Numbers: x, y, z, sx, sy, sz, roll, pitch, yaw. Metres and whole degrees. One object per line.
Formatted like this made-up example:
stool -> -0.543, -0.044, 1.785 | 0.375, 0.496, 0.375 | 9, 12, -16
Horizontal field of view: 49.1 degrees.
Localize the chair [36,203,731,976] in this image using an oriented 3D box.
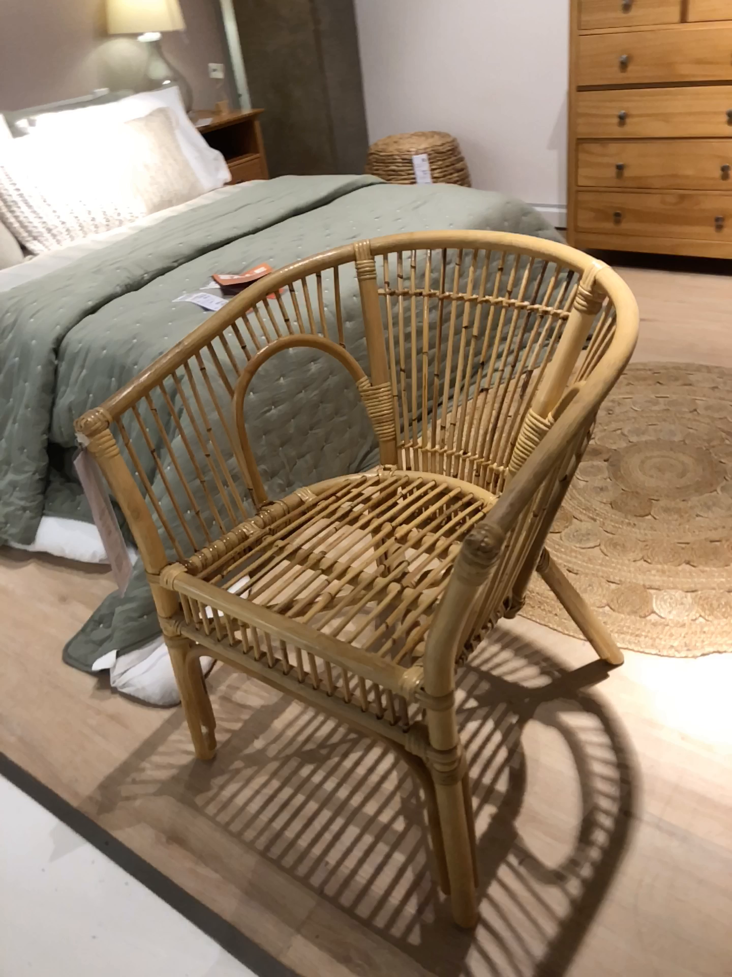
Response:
chair -> 0.079, 0.068, 1.170 | 0.592, 0.754, 0.633 | 18, 40, 35
